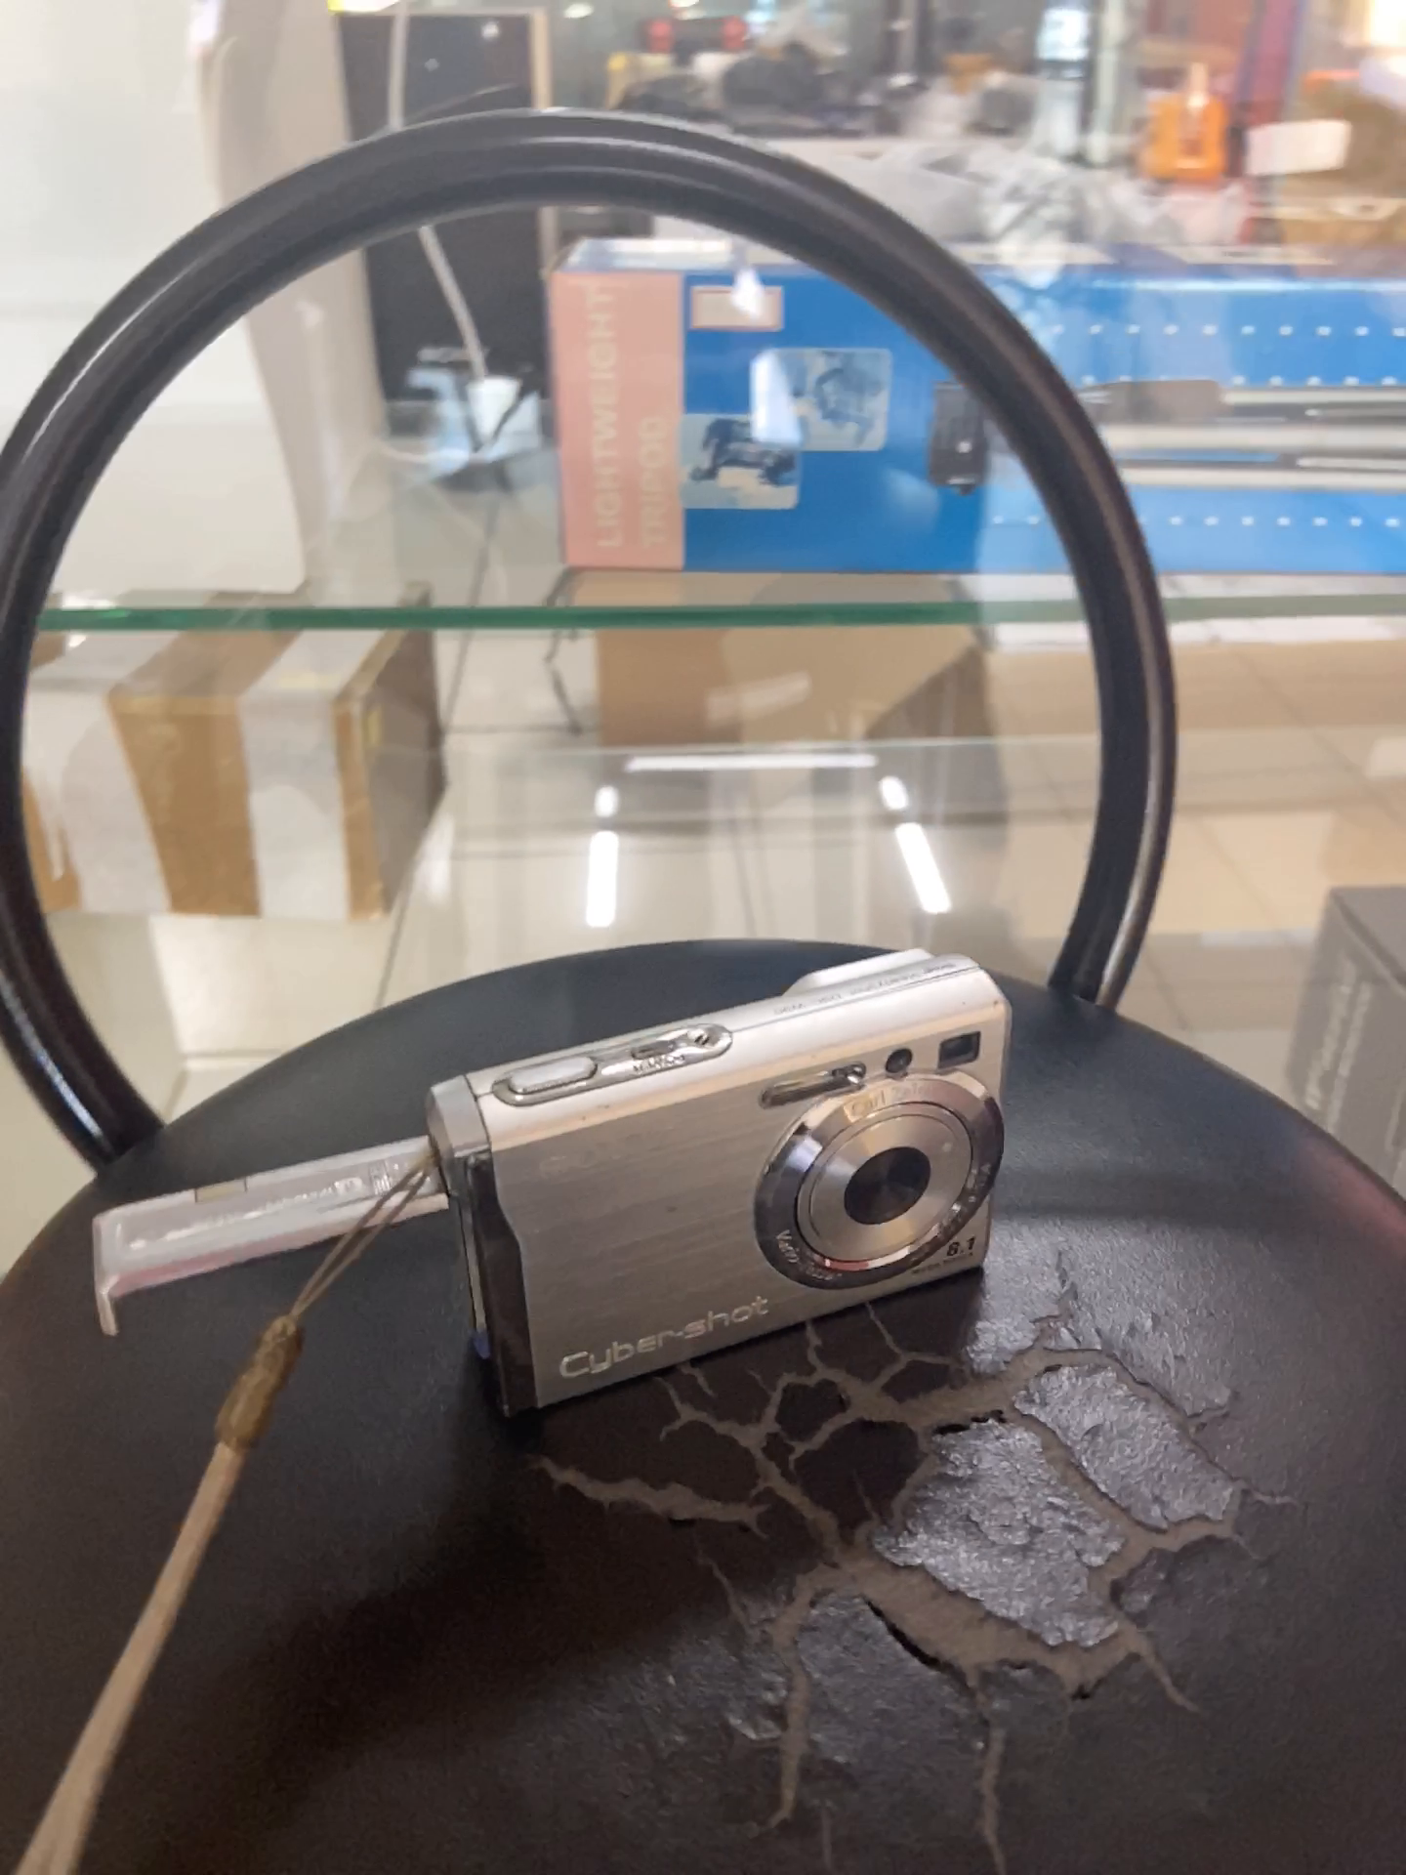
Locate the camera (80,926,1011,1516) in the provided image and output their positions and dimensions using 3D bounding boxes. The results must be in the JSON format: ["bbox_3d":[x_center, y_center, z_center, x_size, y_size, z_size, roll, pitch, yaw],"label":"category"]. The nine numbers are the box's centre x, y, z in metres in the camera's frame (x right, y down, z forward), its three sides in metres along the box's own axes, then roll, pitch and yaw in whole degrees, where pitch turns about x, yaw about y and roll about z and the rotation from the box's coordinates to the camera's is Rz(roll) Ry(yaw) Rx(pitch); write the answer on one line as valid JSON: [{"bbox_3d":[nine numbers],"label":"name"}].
[{"bbox_3d":[-0.020,0.041,0.232,0.136,0.053,0.030,-12,33,-18],"label":"camera"}]
